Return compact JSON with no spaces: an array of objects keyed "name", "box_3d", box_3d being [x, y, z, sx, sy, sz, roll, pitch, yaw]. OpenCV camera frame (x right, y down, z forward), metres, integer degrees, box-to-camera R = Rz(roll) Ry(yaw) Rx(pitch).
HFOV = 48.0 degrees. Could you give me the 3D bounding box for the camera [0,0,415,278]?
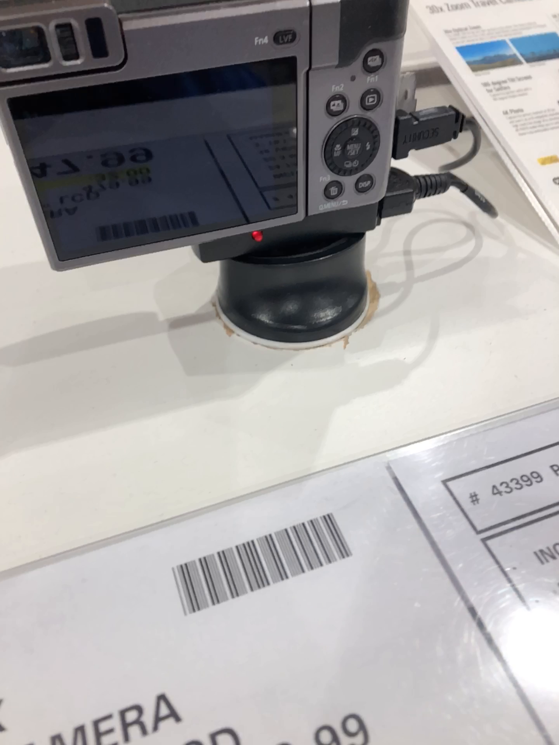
[{"name":"camera","box_3d":[-0.021,-0.073,0.177,0.107,0.065,0.030,-14,46,-12]}]
